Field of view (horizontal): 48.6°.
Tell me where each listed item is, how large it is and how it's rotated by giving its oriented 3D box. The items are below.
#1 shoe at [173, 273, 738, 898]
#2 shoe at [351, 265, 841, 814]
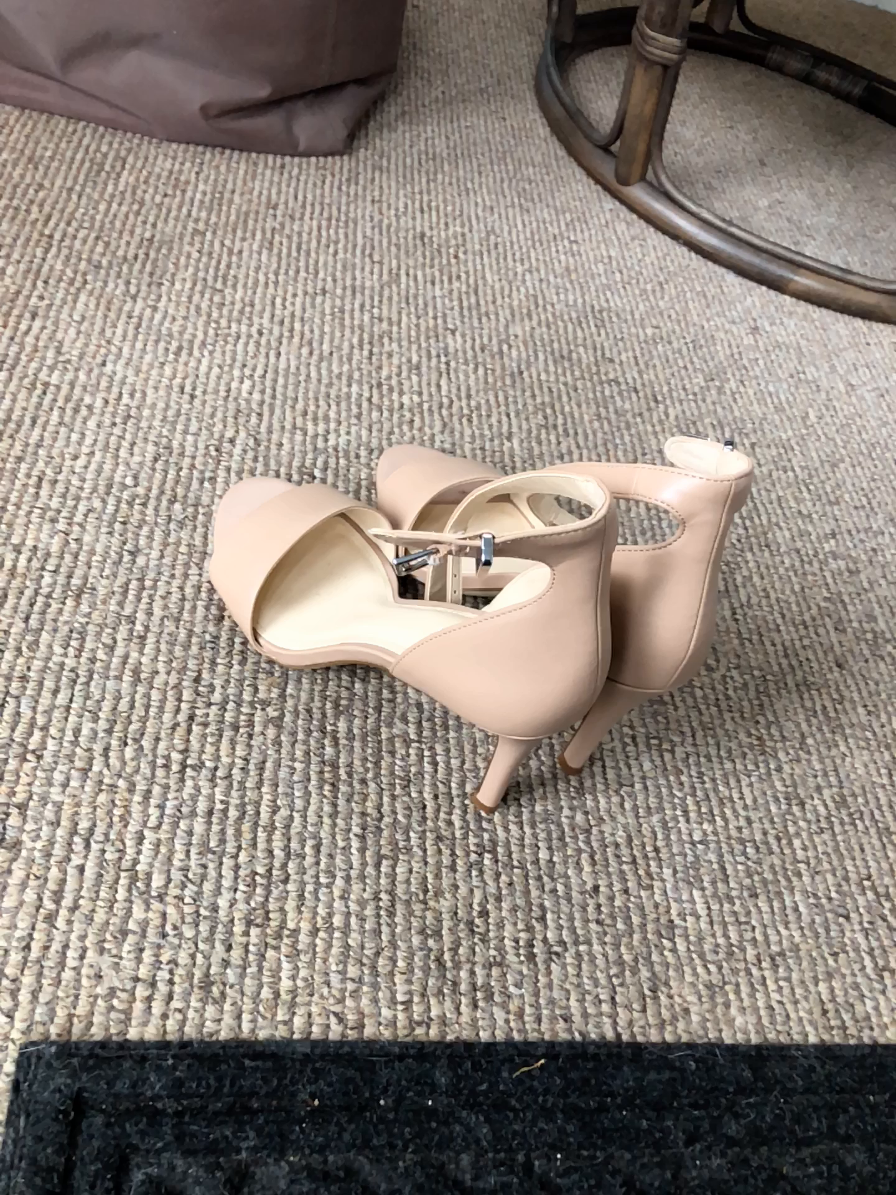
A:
[{"bbox_3d":[-0.014,-0.012,0.428,0.106,0.144,0.206,-23,61,-36],"label":"shoe"},{"bbox_3d":[0.052,-0.034,0.484,0.099,0.154,0.207,-9,54,-29],"label":"shoe"}]
